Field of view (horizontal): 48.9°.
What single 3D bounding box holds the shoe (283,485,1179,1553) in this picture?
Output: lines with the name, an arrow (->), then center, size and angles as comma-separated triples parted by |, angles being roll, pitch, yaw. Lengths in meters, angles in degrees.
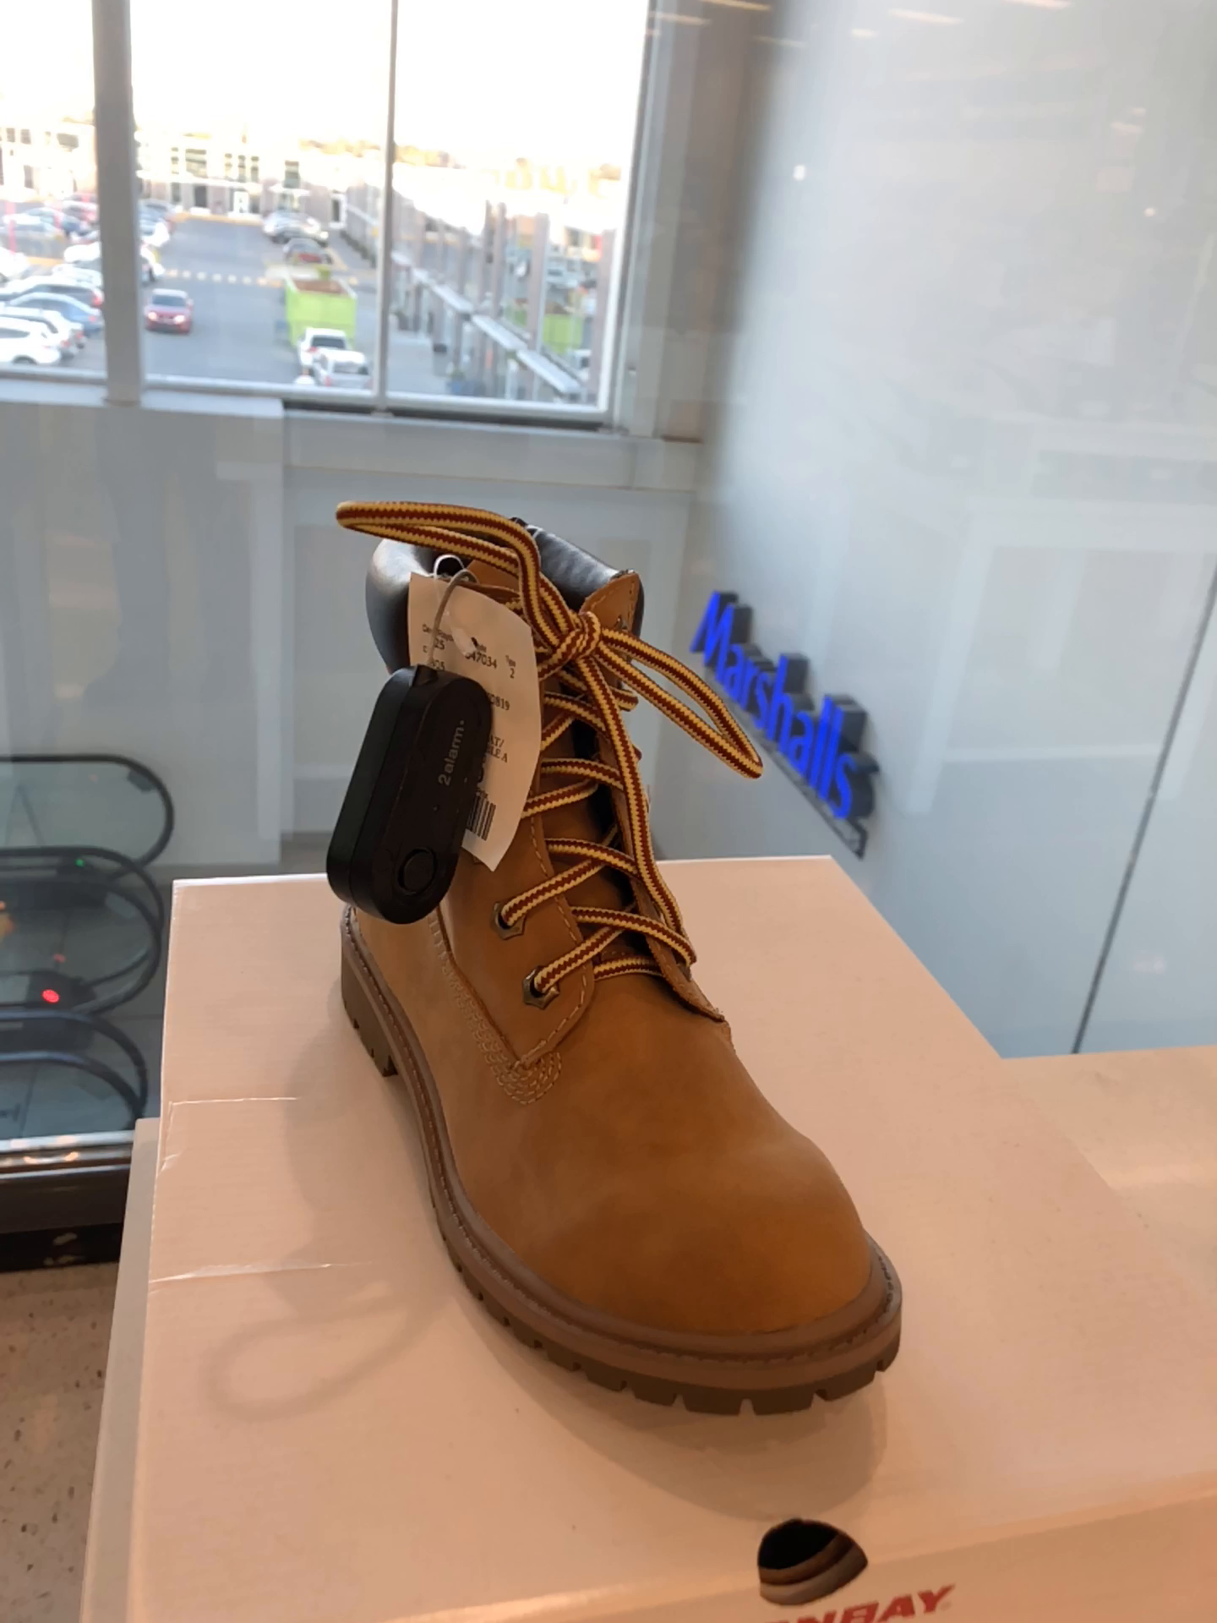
shoe -> 0.000, 0.023, 0.367 | 0.107, 0.169, 0.241 | -7, 28, -29
